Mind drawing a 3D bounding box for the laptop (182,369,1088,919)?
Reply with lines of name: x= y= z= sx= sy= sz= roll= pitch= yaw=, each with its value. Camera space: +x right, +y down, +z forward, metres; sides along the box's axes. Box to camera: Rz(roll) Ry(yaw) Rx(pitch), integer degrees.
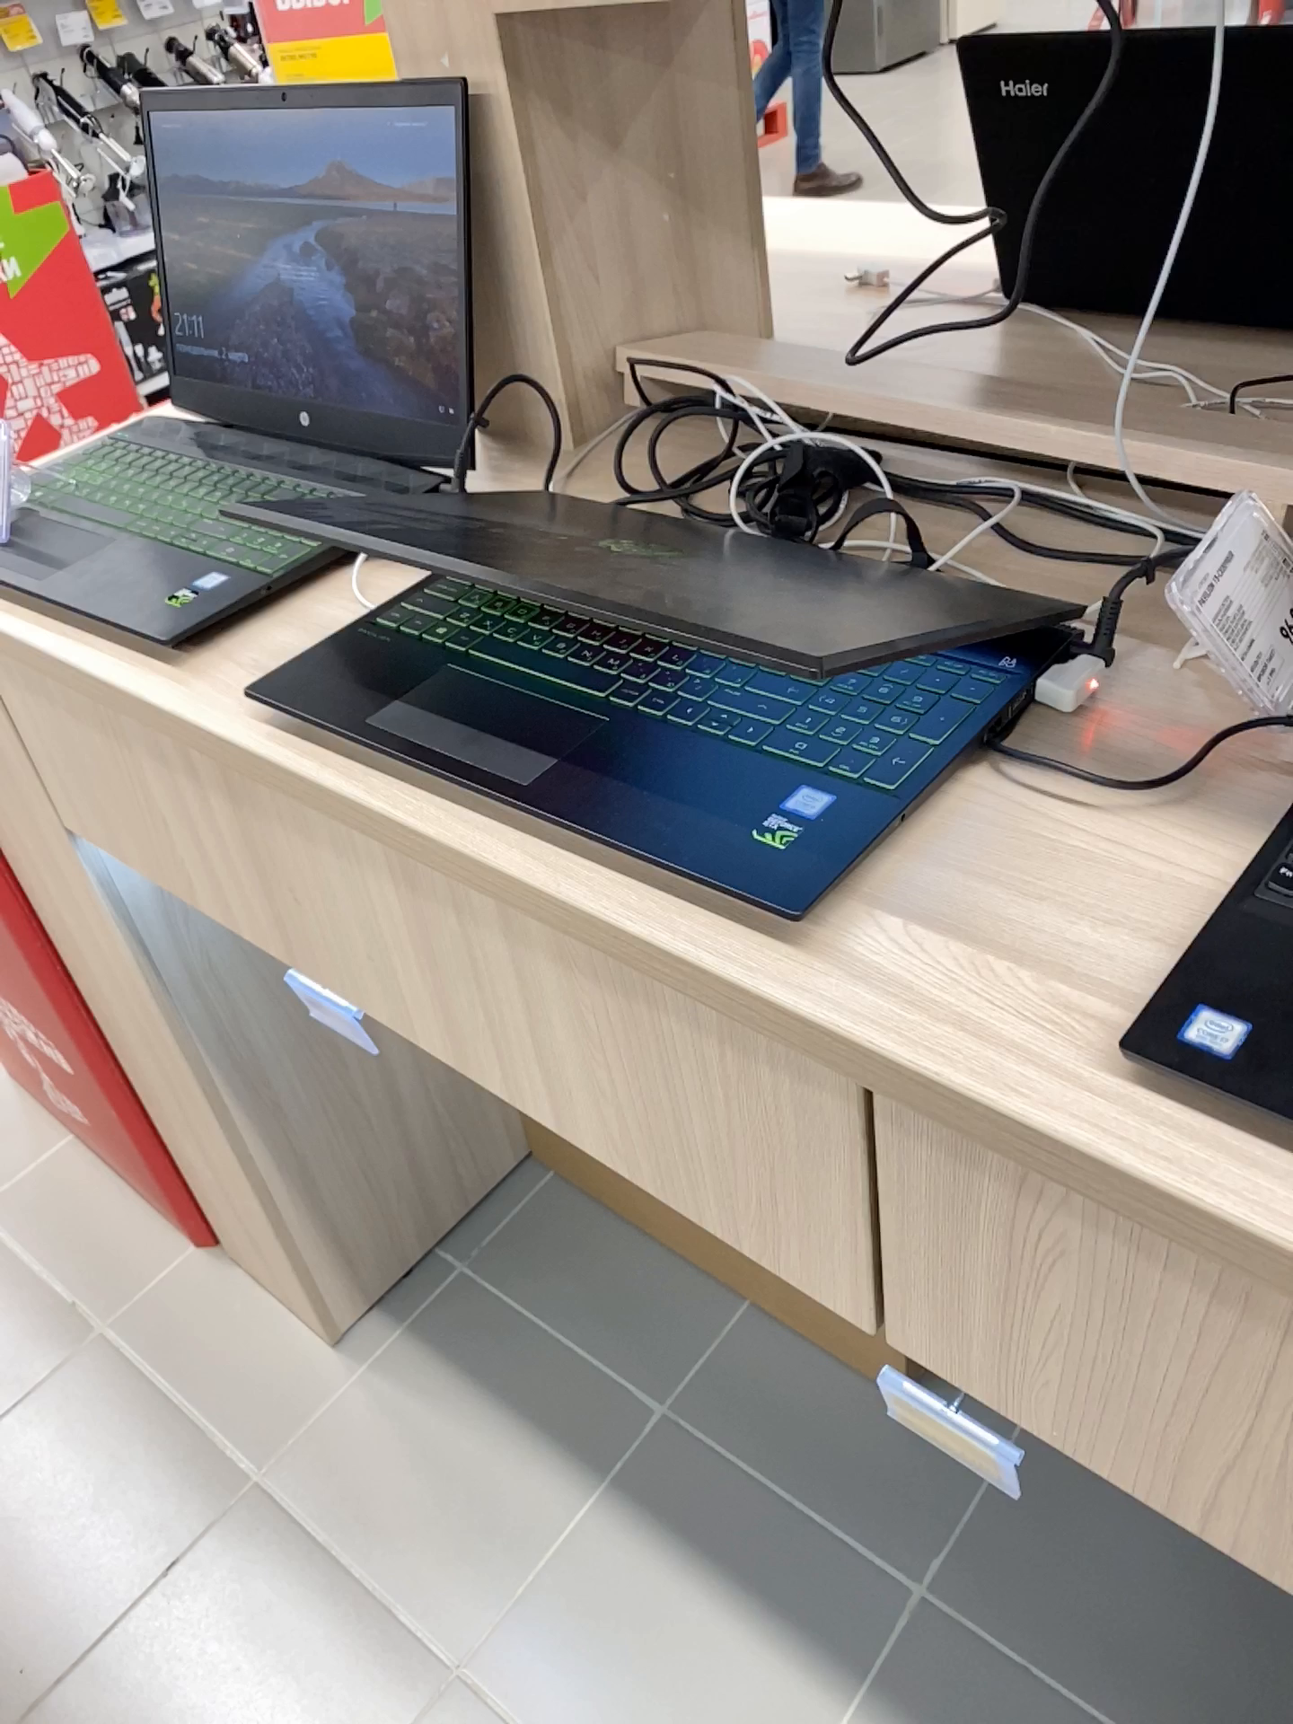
laptop: x=-0.010 y=-0.137 z=0.654 sx=0.362 sy=0.092 sz=0.242 roll=22 pitch=48 yaw=33
